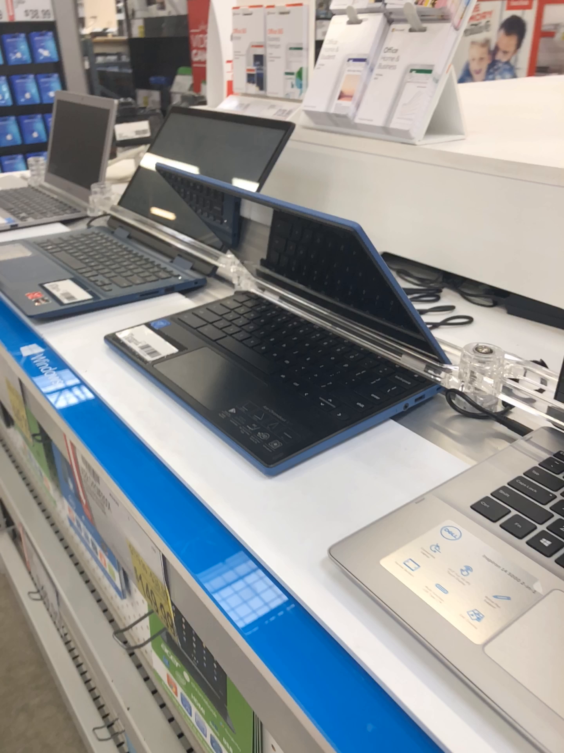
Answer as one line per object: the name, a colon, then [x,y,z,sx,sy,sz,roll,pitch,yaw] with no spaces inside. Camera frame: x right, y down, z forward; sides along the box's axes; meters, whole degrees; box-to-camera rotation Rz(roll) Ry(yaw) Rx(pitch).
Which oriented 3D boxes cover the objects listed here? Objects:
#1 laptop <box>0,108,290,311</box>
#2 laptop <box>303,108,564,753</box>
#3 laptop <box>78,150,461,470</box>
laptop: [-0.230,-0.255,0.857,0.367,0.169,0.306,-20,34,-32]
laptop: [0.223,0.029,0.252,0.255,0.218,0.342,-21,32,-29]
laptop: [-0.026,-0.090,0.563,0.194,0.159,0.294,-20,34,-31]
